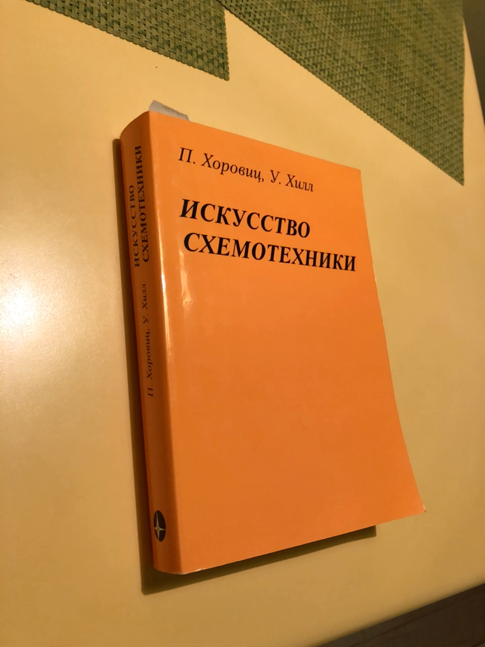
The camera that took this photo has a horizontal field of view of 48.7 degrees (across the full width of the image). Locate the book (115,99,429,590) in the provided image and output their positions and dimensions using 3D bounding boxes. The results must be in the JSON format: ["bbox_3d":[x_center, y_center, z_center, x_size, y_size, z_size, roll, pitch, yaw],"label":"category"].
[{"bbox_3d":[0.020,0.007,0.324,0.172,0.048,0.238,3,75,-36],"label":"book"}]
